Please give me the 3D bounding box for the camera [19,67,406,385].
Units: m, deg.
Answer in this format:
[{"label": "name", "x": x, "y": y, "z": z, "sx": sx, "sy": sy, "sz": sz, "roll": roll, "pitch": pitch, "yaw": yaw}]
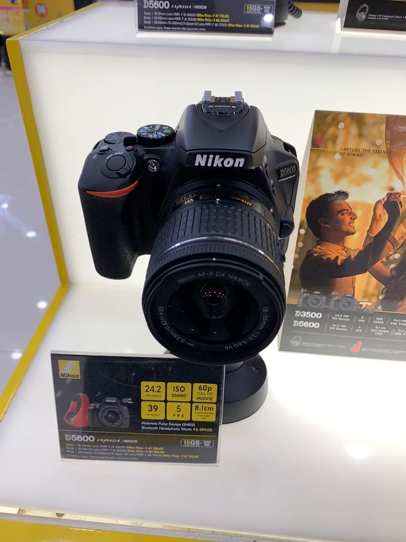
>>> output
[{"label": "camera", "x": 0.005, "y": -0.038, "z": 0.220, "sx": 0.120, "sy": 0.090, "sz": 0.161, "roll": 2, "pitch": 38, "yaw": 1}]
